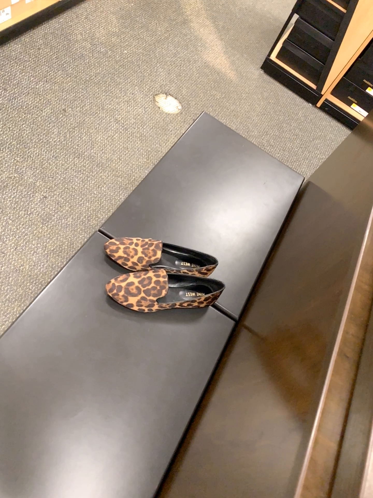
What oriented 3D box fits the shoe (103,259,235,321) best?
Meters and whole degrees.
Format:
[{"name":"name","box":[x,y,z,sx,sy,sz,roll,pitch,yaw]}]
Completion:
[{"name":"shoe","box":[-0.039,0.087,0.774,0.247,0.090,0.090,4,60,-20]}]

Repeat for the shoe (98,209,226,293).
[{"name":"shoe","box":[-0.049,0.009,0.805,0.247,0.090,0.090,14,57,-14]}]
